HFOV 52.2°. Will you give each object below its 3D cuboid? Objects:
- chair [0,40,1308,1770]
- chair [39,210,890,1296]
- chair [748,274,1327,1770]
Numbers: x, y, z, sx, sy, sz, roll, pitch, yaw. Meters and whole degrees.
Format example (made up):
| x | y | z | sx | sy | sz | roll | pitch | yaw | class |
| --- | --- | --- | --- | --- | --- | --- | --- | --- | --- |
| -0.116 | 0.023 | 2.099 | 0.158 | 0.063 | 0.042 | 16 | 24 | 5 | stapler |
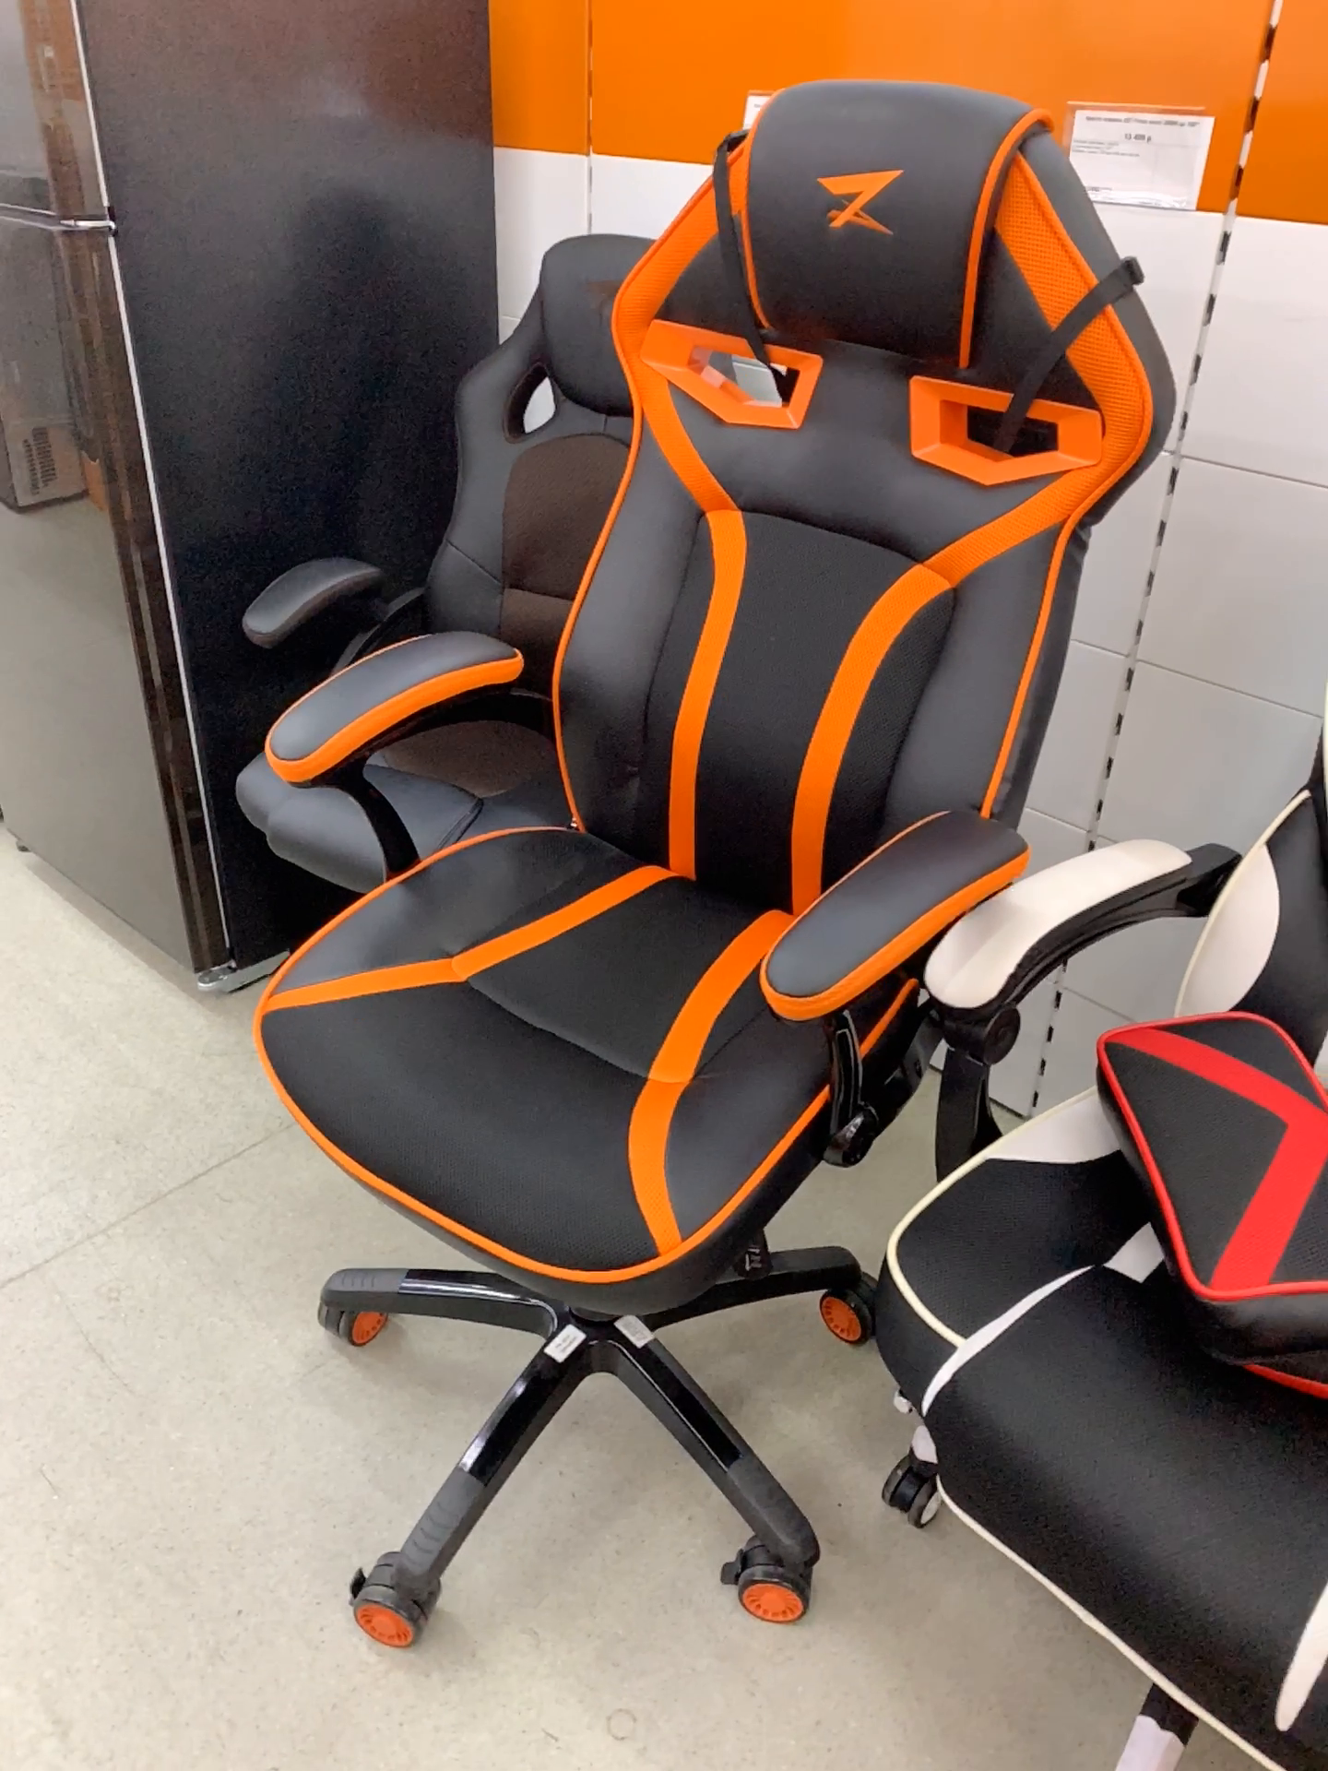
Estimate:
| x | y | z | sx | sy | sz | roll | pitch | yaw | class |
| --- | --- | --- | --- | --- | --- | --- | --- | --- | --- |
| -0.084 | 0.007 | 1.250 | 0.722 | 1.313 | 0.732 | 27 | 40 | 36 | chair |
| -0.262 | -0.251 | 2.089 | 0.821 | 1.323 | 0.723 | 23 | 37 | 31 | chair |
| 0.683 | 0.242 | 1.083 | 0.851 | 1.193 | 0.823 | 23 | 37 | 31 | chair |
